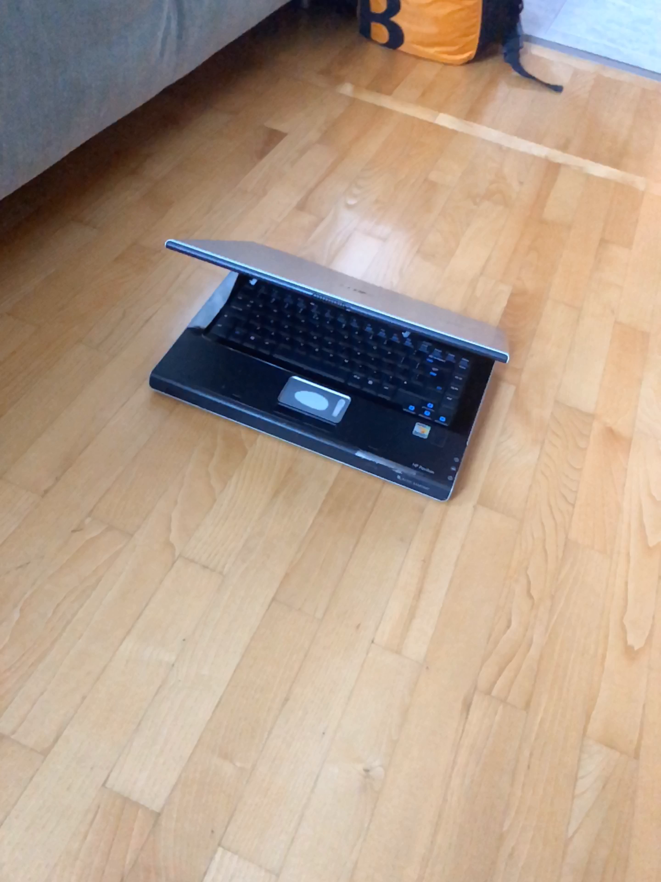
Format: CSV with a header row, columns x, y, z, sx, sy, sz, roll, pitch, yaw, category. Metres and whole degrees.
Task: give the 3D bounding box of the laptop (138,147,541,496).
x,y,z,sx,sy,sz,roll,pitch,yaw,category
0.016,-0.148,0.832,0.361,0.147,0.270,21,52,7,laptop
